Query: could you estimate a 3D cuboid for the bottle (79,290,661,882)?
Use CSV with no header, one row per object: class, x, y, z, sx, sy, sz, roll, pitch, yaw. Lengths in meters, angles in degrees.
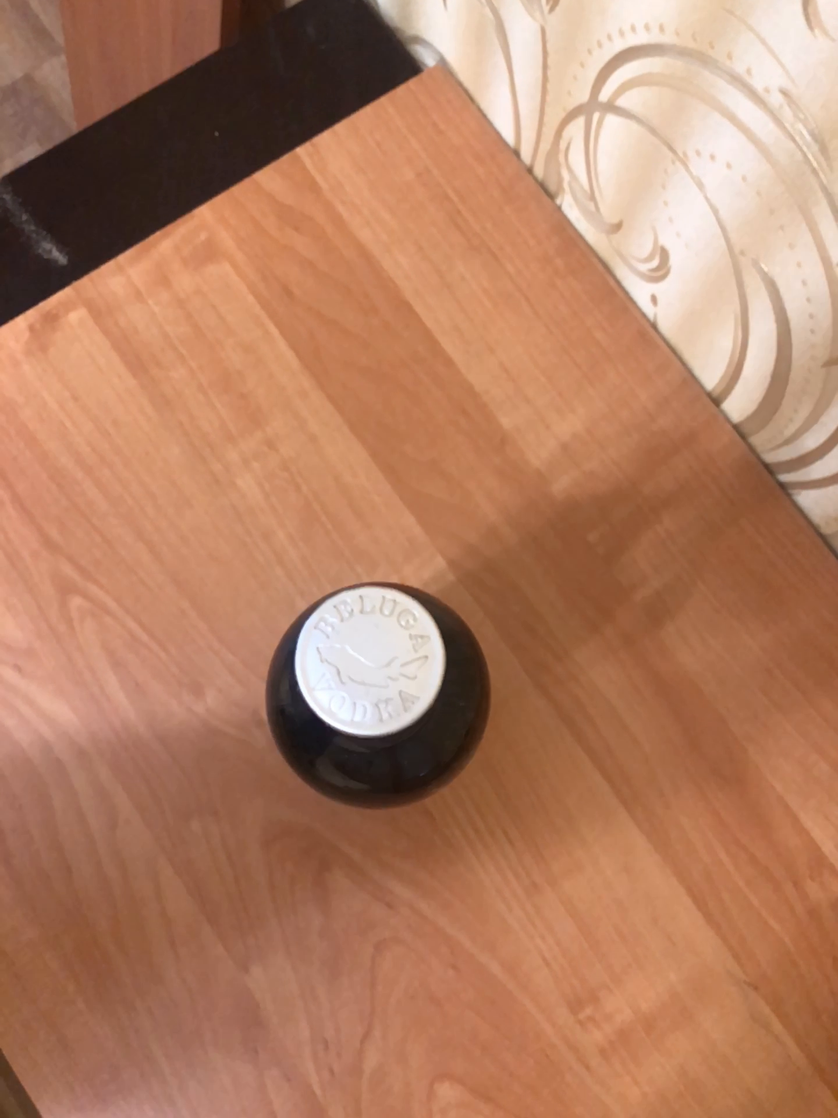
bottle,-0.014,0.033,0.329,0.073,0.323,0.083,-32,81,-7
